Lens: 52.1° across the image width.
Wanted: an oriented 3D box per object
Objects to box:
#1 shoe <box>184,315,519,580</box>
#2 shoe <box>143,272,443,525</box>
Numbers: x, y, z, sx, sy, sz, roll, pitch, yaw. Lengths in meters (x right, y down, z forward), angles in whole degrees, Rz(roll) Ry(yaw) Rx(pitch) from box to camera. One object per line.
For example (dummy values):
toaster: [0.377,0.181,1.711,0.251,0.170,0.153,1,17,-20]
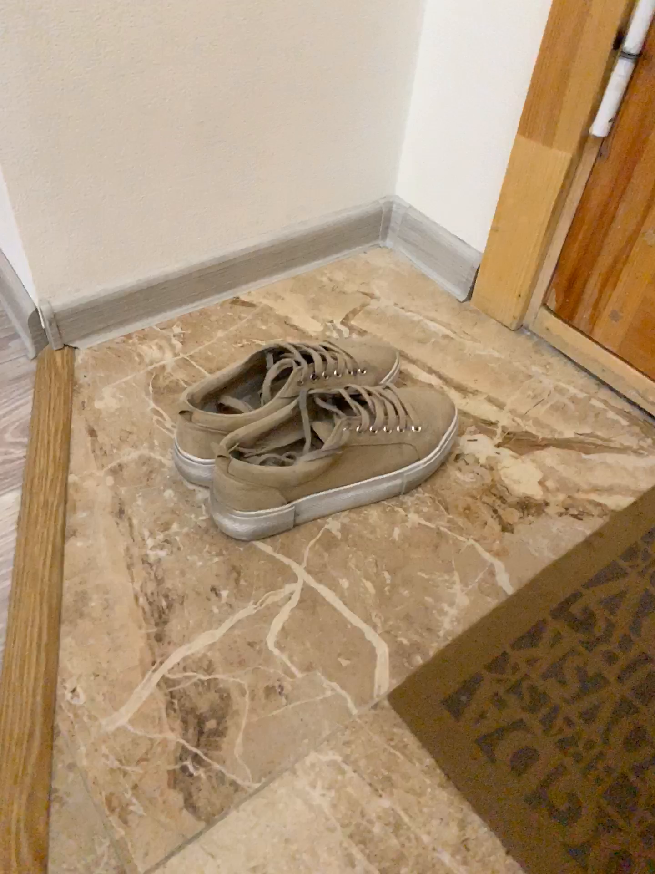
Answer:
shoe: [0.020,0.000,0.531,0.240,0.099,0.090,-22,52,-25]
shoe: [-0.024,-0.042,0.580,0.241,0.099,0.090,-29,56,-30]
